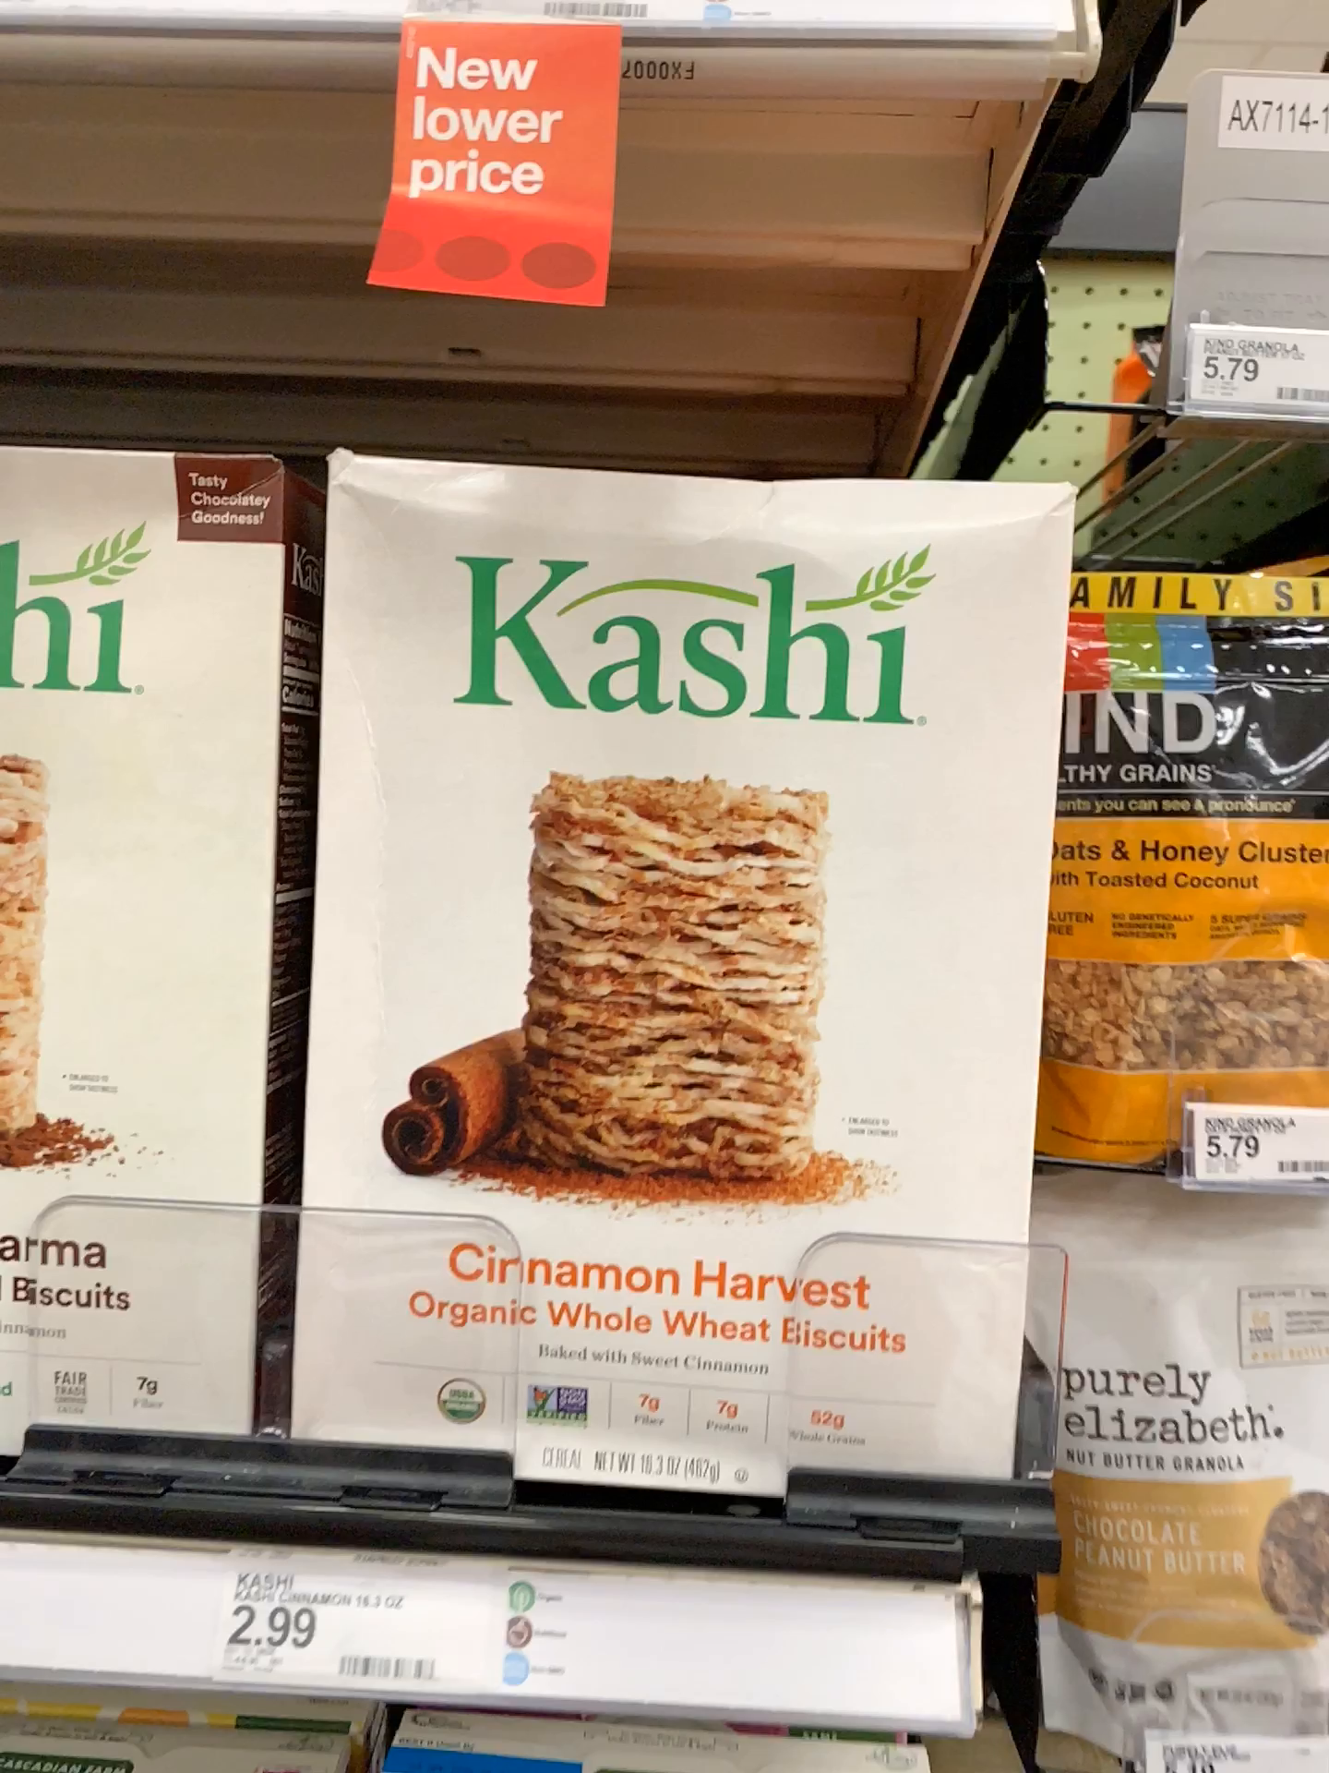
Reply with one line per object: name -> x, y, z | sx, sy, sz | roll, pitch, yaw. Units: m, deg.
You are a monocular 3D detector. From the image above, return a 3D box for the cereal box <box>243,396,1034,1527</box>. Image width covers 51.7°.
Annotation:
cereal box -> -0.008, 0.018, 0.384 | 0.190, 0.280, 0.070 | 3, 2, 2
